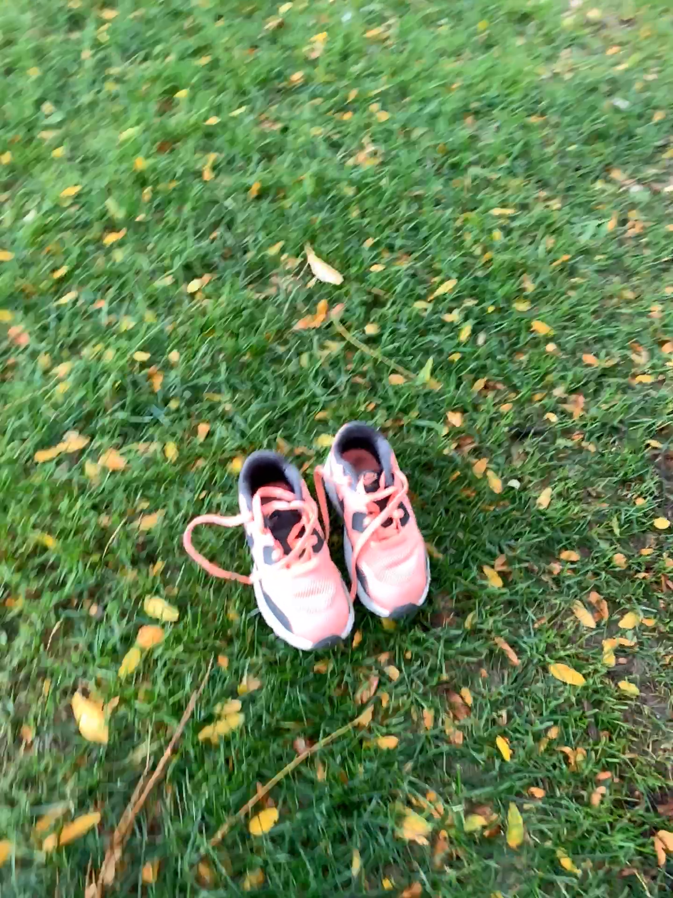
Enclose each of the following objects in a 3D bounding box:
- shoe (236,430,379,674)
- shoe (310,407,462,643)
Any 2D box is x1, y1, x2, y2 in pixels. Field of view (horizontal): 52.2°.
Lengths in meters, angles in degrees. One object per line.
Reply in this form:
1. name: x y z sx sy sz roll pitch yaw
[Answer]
1. shoe: -0.031 0.089 0.633 0.080 0.070 0.201 -13 55 -8
2. shoe: 0.039 0.066 0.649 0.080 0.070 0.201 -13 55 -8
